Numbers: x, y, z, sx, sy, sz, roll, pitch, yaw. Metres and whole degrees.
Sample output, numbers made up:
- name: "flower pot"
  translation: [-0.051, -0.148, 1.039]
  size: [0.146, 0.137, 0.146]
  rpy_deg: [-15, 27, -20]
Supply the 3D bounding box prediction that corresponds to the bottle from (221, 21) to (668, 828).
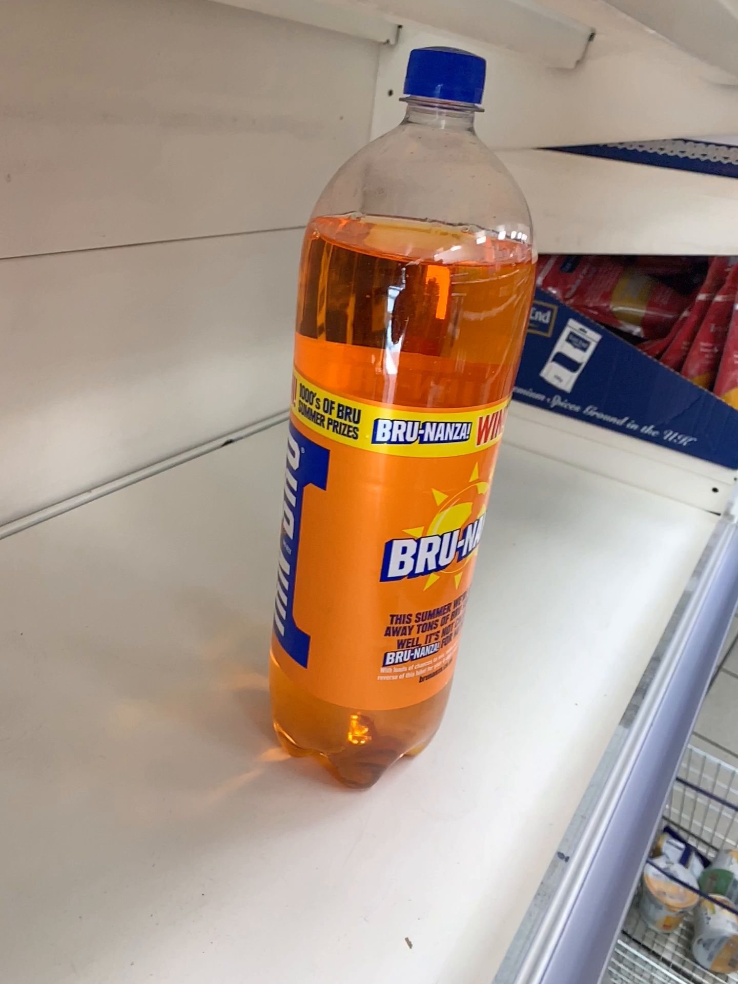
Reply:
- name: "bottle"
  translation: [0.014, -0.020, 0.358]
  size: [0.110, 0.327, 0.111]
  rpy_deg: [7, 27, -3]
